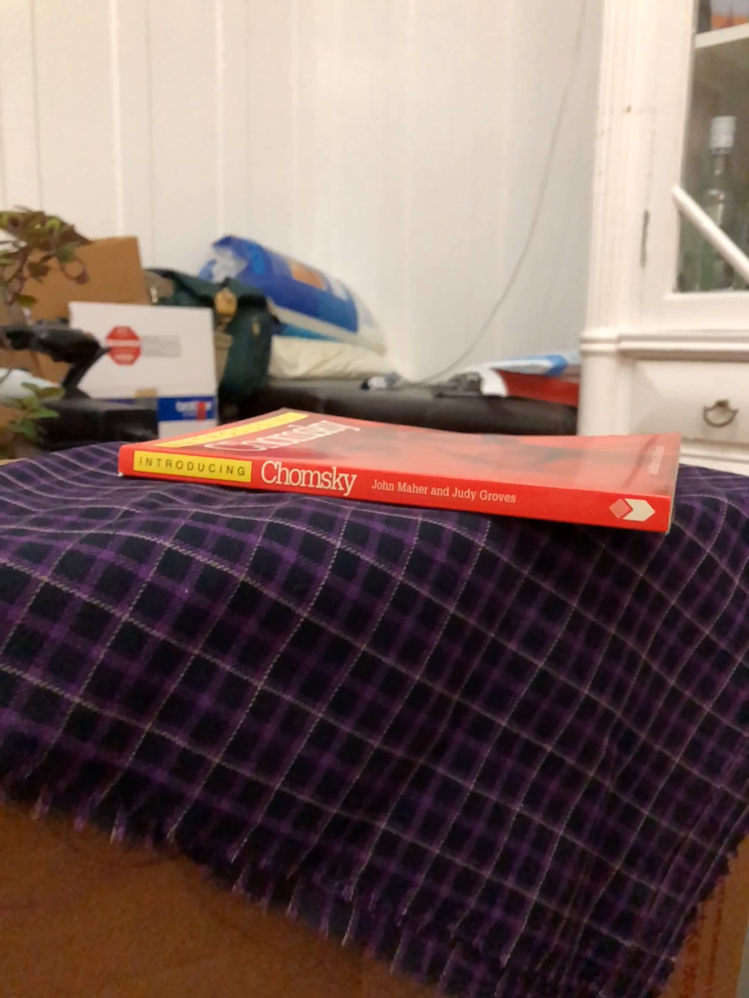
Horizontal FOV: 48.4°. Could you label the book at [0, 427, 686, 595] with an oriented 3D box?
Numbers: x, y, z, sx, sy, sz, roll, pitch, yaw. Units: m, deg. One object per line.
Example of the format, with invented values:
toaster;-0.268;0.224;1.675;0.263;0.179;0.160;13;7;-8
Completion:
book;0.000;-0.007;0.344;0.240;0.020;0.180;4;11;19
